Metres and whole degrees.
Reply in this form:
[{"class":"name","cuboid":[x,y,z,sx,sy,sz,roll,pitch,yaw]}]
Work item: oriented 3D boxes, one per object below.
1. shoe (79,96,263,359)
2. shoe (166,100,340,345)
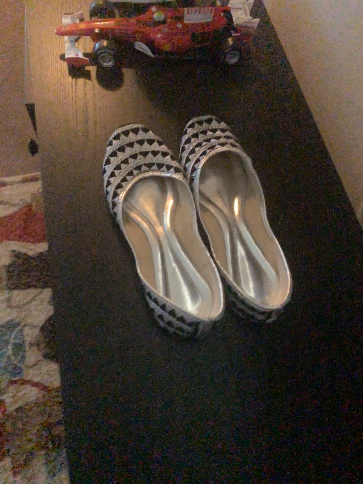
[{"class":"shoe","cuboid":[-0.024,-0.023,0.404,0.100,0.080,0.261,-16,70,-16]},{"class":"shoe","cuboid":[0.068,-0.031,0.443,0.100,0.080,0.271,-11,69,-14]}]
